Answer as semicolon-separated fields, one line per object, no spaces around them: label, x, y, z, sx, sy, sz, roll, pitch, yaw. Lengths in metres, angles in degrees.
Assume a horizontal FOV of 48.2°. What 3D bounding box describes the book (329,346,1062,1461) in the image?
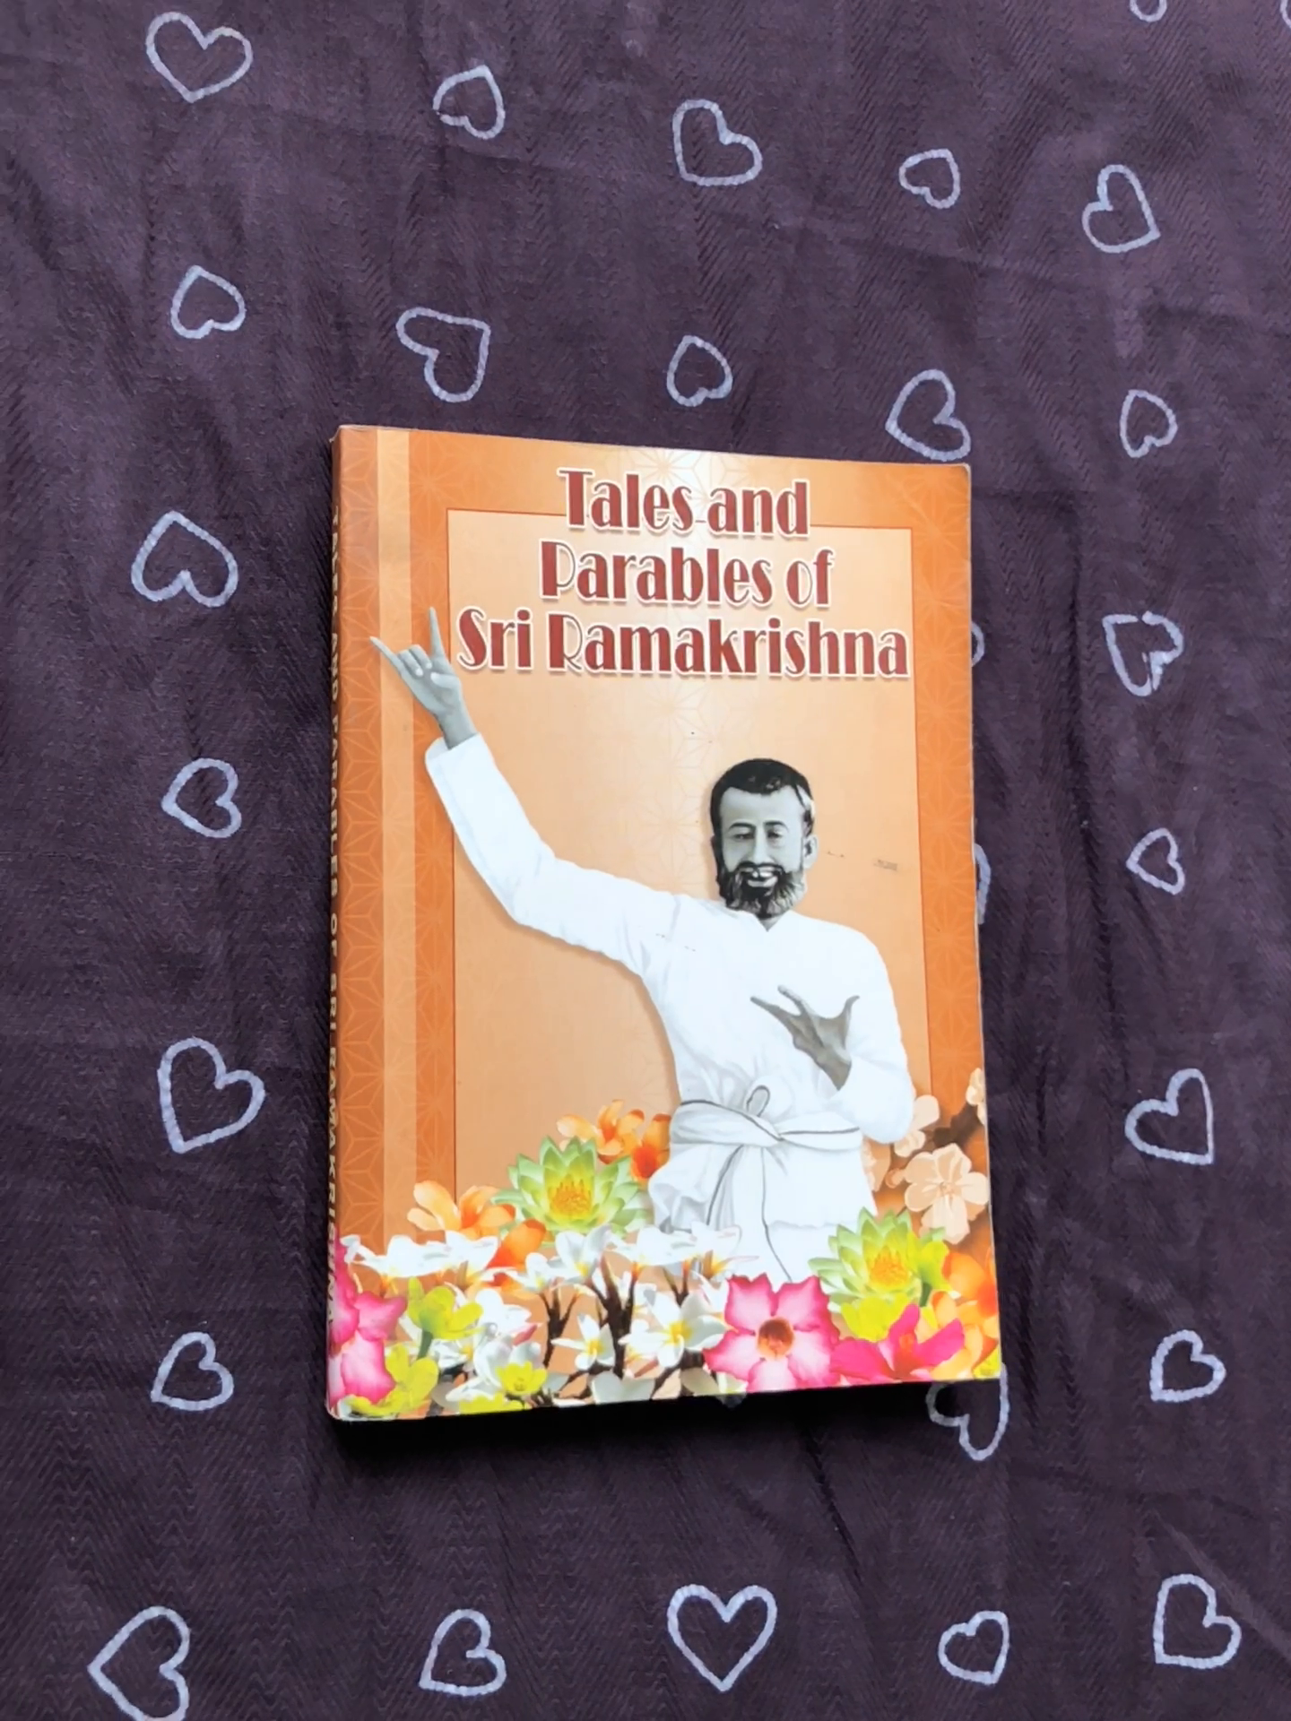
book;0.008;0.005;0.268;0.130;0.020;0.190;0;84;-12
